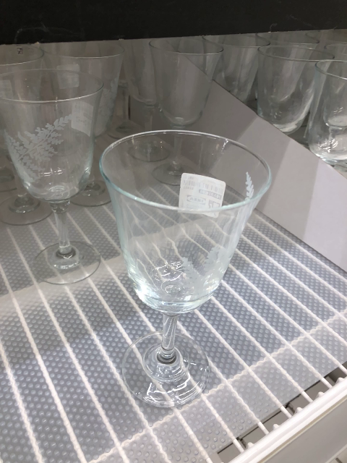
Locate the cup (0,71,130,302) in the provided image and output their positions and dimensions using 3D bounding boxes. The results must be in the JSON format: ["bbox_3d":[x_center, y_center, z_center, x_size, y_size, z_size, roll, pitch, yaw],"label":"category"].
[{"bbox_3d":[-0.095,-0.040,0.324,0.087,0.155,0.090,3,35,-2],"label":"cup"}]

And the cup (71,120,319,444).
[{"bbox_3d":[0.003,0.028,0.233,0.089,0.156,0.087,3,35,-2],"label":"cup"}]

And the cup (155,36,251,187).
[{"bbox_3d":[0.022,-0.124,0.397,0.069,0.126,0.087,-2,35,-9],"label":"cup"}]

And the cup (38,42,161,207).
[{"bbox_3d":[-0.075,-0.114,0.402,0.089,0.136,0.087,3,35,-2],"label":"cup"}]

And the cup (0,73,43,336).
[{"bbox_3d":[-0.160,-0.022,0.273,0.079,0.146,0.087,3,35,-2],"label":"cup"}]
